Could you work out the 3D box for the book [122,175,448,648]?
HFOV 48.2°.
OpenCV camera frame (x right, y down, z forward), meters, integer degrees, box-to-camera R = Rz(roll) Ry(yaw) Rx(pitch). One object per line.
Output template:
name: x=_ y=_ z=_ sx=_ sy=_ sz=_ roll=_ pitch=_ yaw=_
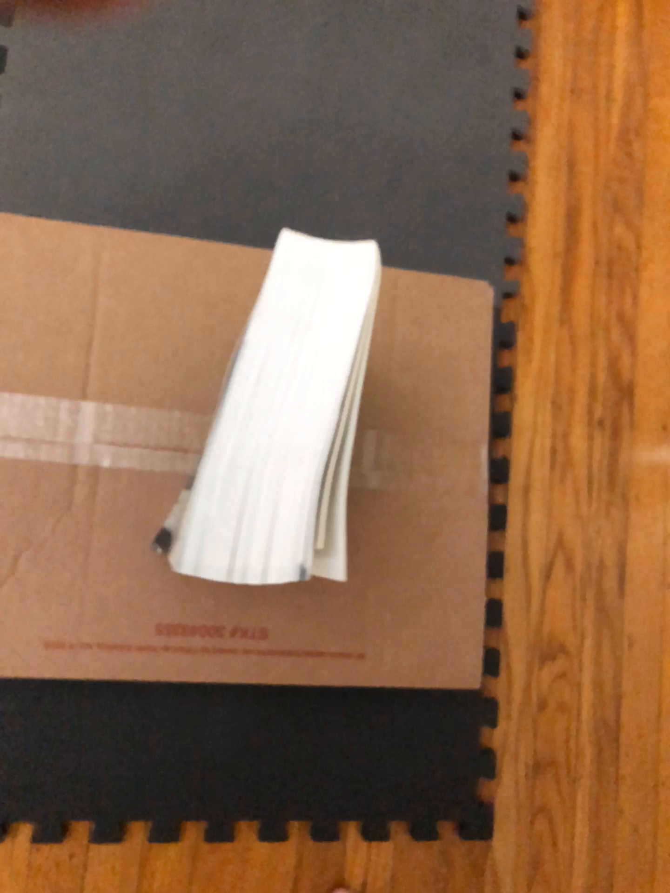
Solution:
book: x=-0.042 y=-0.003 z=0.467 sx=0.090 sy=0.260 sz=0.200 roll=20 pitch=79 yaw=-8
